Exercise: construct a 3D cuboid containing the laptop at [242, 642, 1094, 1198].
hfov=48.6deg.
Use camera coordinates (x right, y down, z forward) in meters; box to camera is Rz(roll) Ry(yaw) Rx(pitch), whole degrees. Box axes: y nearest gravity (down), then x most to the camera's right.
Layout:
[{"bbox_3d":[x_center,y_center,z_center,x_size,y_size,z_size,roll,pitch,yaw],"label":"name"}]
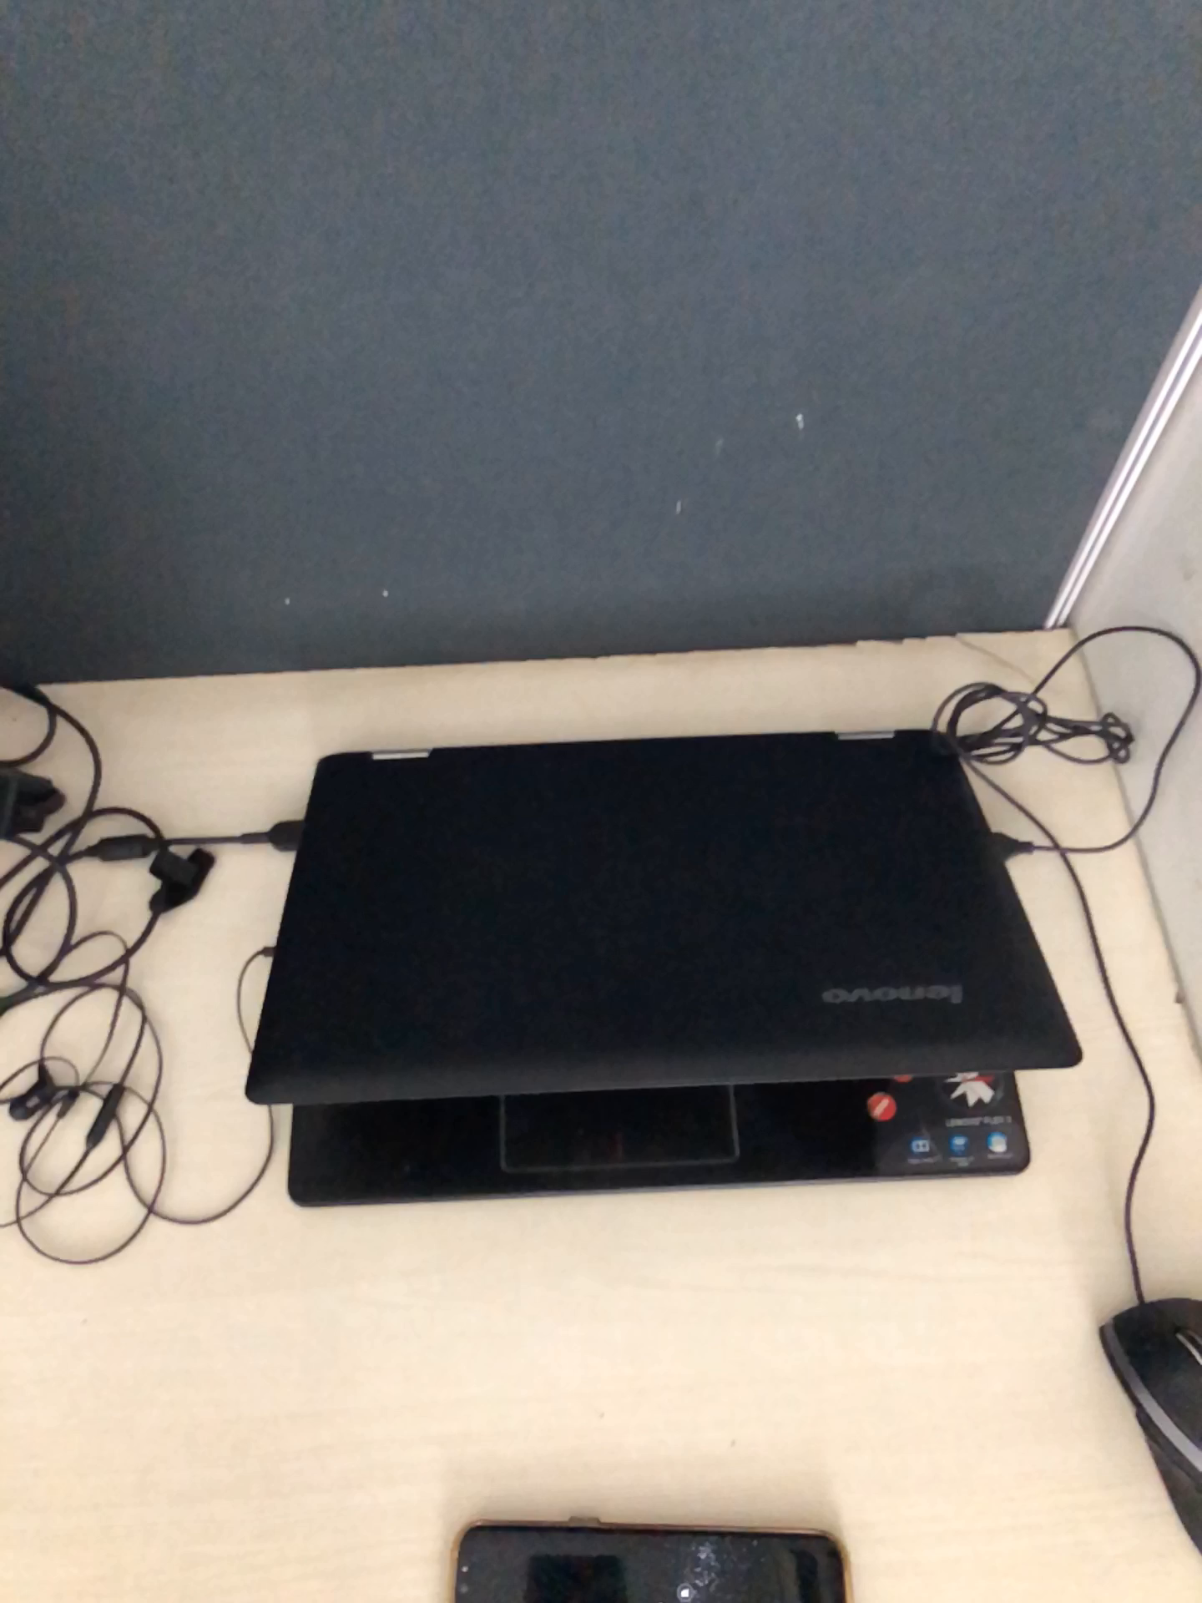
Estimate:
[{"bbox_3d":[0.021,0.049,0.599,0.326,0.083,0.220,-2,60,-1],"label":"laptop"}]
